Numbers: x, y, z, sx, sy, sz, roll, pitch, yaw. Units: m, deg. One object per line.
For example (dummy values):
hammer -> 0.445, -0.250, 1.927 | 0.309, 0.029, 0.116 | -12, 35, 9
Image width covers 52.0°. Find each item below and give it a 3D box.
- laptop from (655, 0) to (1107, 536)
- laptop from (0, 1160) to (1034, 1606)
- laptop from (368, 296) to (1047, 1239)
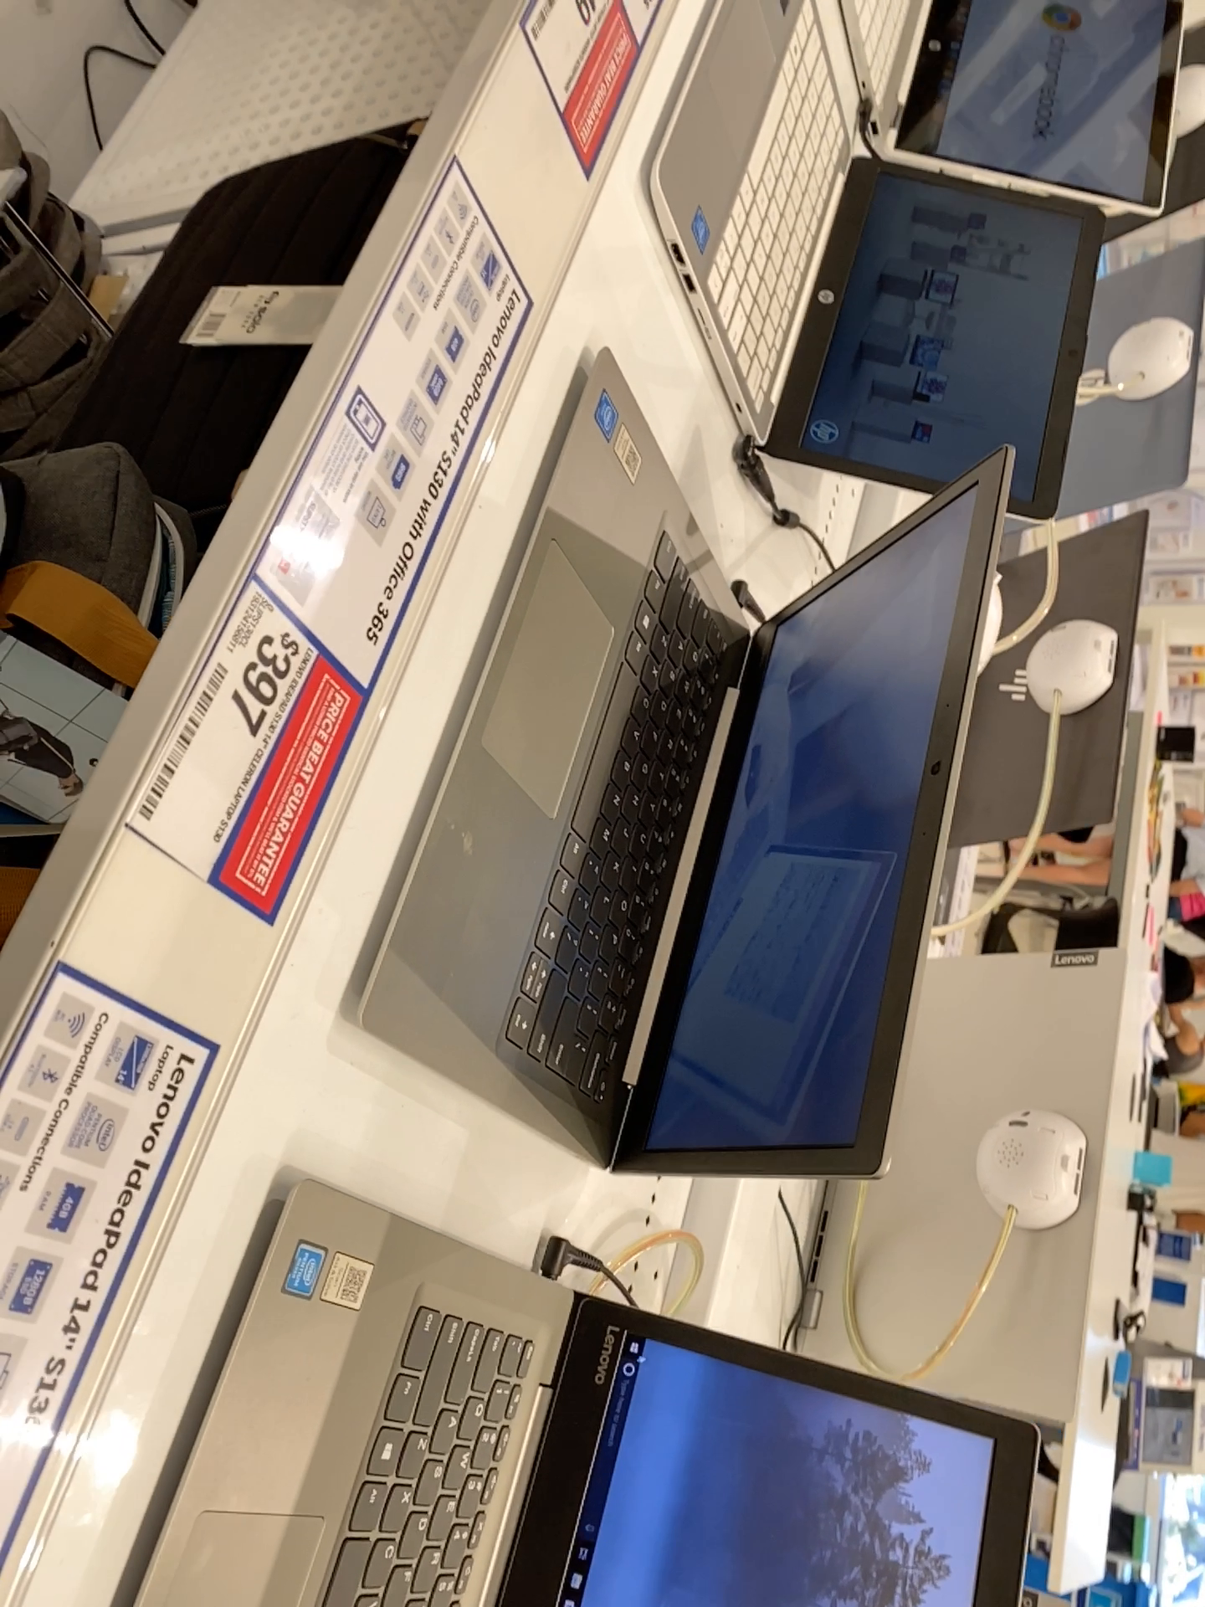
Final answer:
laptop -> 0.196, -0.370, 0.750 | 0.286, 0.155, 0.304 | 50, 49, -51
laptop -> 0.006, 0.355, 0.438 | 0.311, 0.215, 0.329 | 53, 48, -52
laptop -> 0.080, -0.009, 0.564 | 0.231, 0.170, 0.330 | 50, 51, -53
